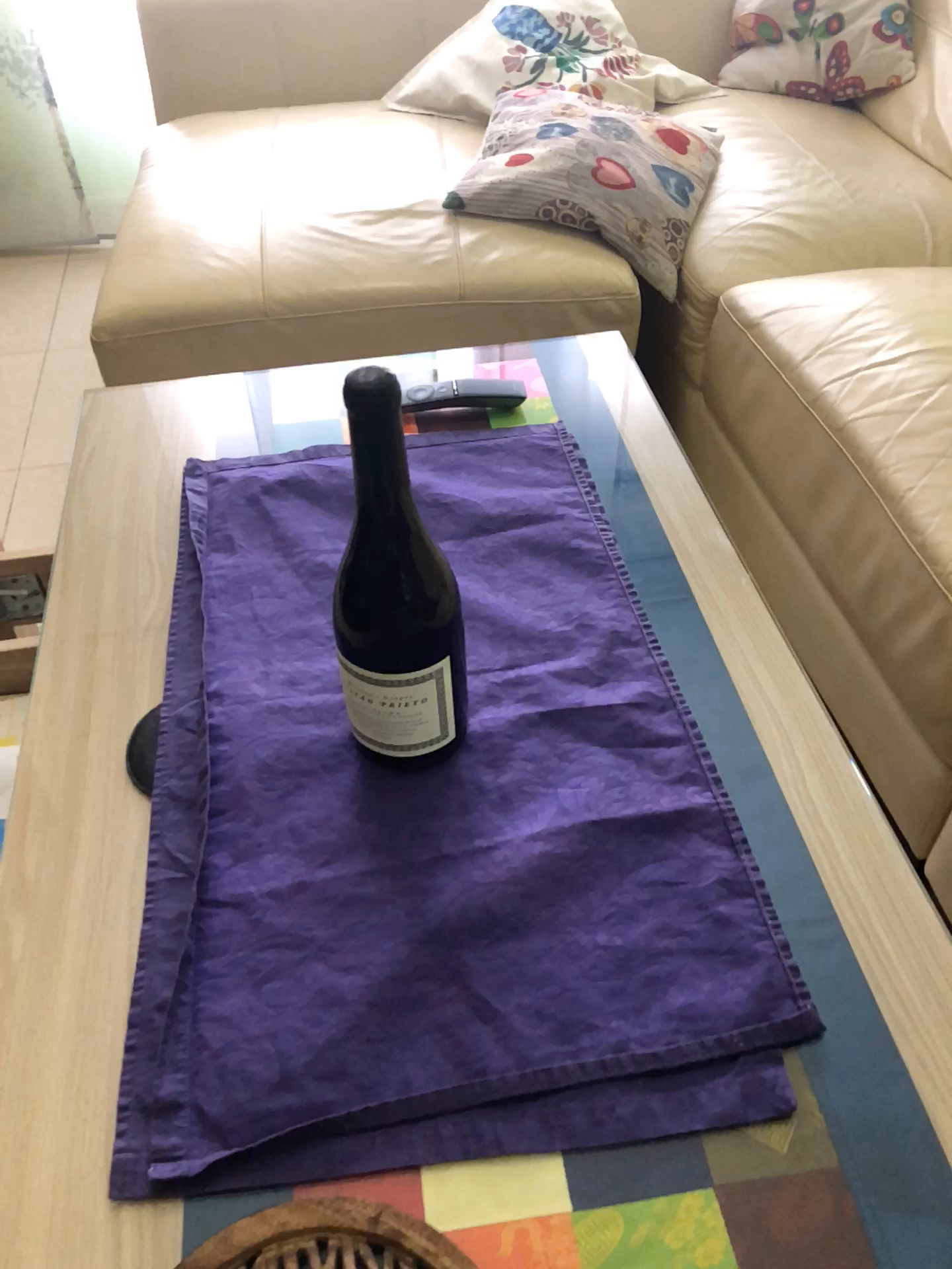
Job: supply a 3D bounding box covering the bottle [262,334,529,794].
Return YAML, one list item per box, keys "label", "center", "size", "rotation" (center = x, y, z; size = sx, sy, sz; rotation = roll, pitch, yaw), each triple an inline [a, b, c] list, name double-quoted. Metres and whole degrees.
- label: "bottle"
  center: [-0.038, -0.035, 0.649]
  size: [0.110, 0.259, 0.100]
  rotation: [-1, 44, 1]
